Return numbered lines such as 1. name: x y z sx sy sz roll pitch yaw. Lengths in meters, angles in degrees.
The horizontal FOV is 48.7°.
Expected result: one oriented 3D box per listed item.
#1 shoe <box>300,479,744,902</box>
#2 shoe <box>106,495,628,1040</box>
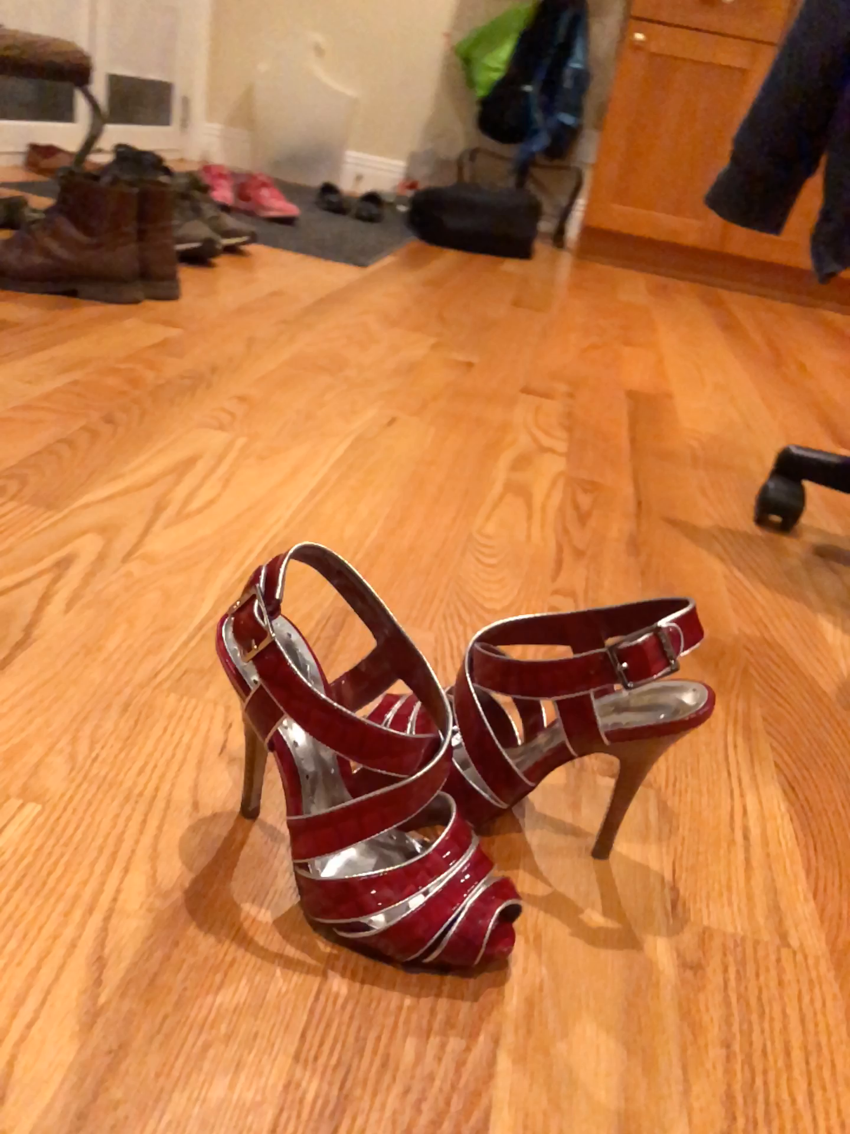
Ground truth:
1. shoe: 0.048 0.058 0.505 0.193 0.141 0.092 19 26 17
2. shoe: -0.034 0.079 0.427 0.198 0.151 0.092 21 27 20
